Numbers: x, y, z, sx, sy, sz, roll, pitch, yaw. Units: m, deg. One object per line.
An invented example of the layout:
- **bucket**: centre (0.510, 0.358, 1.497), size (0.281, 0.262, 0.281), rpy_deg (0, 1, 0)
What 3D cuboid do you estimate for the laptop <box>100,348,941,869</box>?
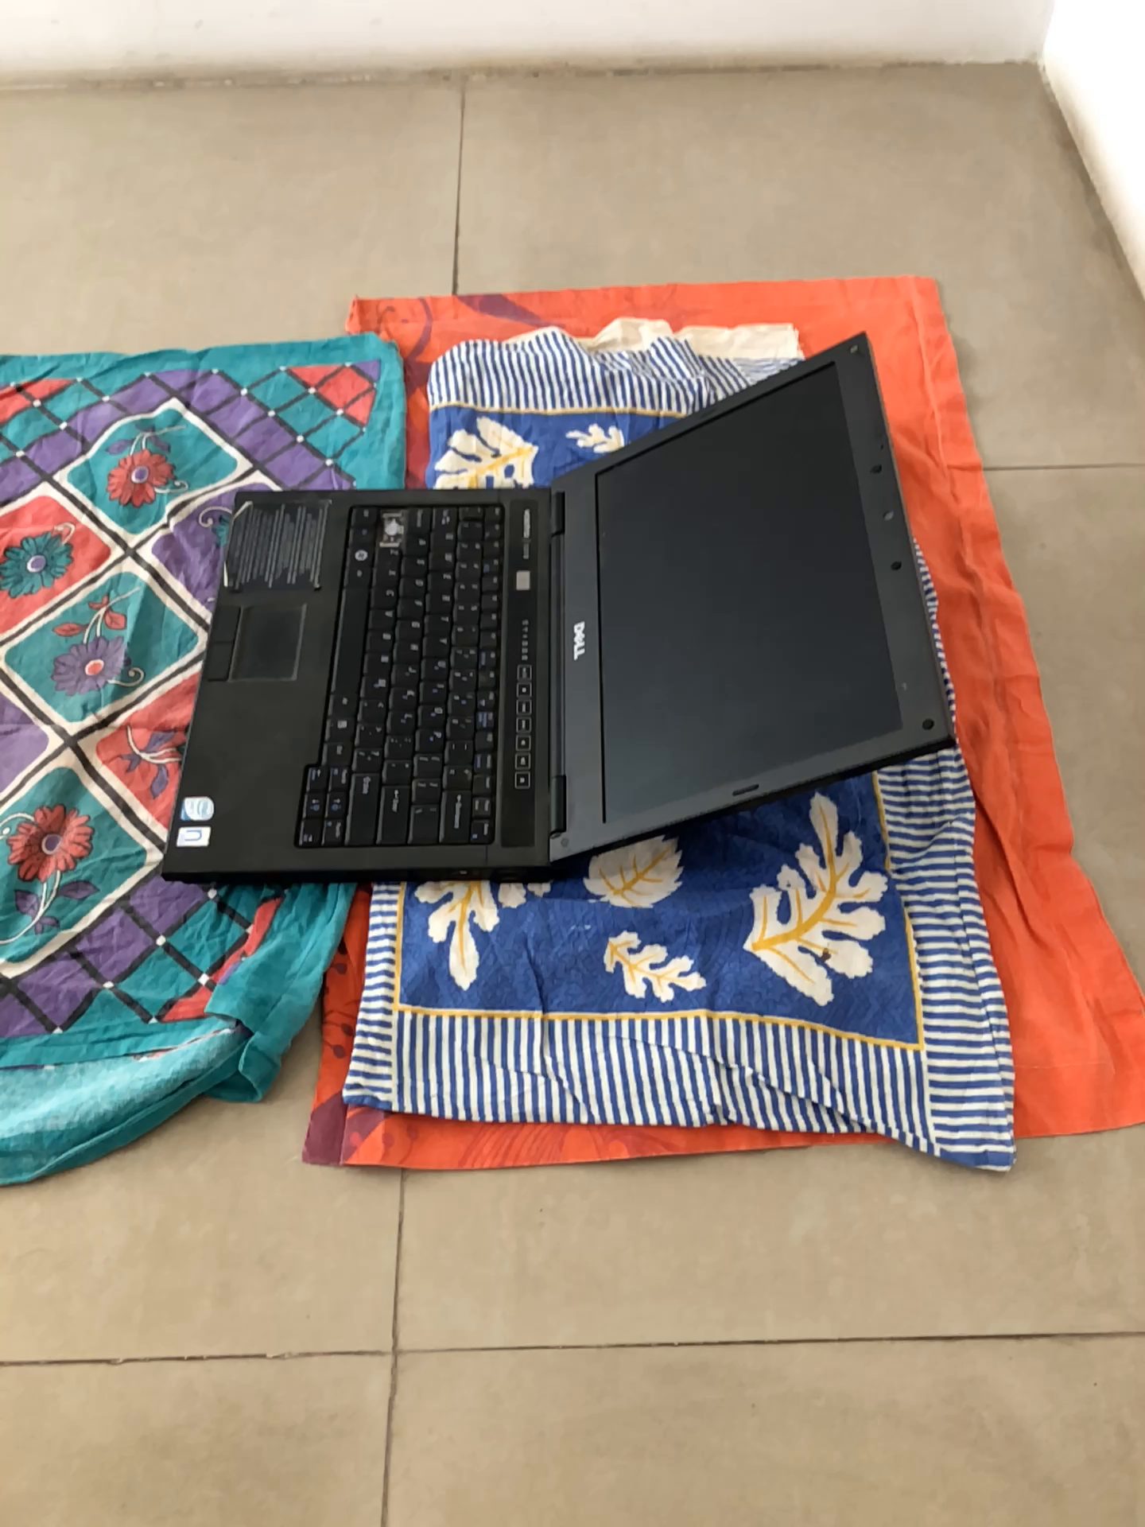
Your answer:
- **laptop**: centre (-0.025, -0.102, 0.767), size (0.419, 0.125, 0.307), rpy_deg (0, 56, -1)
